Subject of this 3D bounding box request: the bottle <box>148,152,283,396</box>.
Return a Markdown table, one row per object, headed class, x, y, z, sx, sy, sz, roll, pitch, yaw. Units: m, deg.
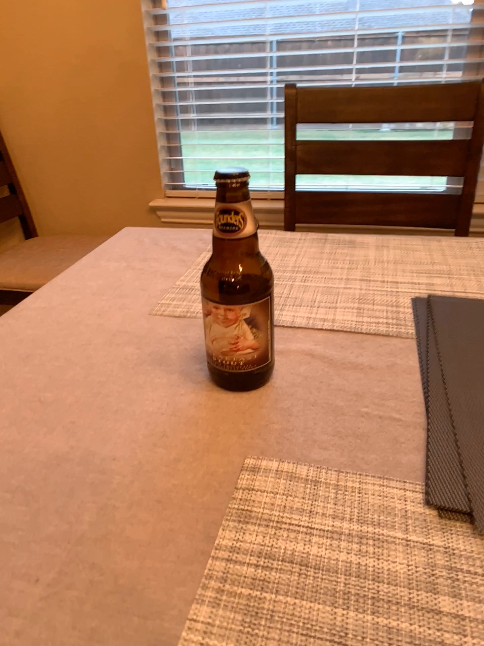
| class | x | y | z | sx | sy | sz | roll | pitch | yaw |
| --- | --- | --- | --- | --- | --- | --- | --- | --- | --- |
| bottle | -0.015 | -0.044 | 0.432 | 0.080 | 0.189 | 0.080 | -2 | 27 | 1 |
